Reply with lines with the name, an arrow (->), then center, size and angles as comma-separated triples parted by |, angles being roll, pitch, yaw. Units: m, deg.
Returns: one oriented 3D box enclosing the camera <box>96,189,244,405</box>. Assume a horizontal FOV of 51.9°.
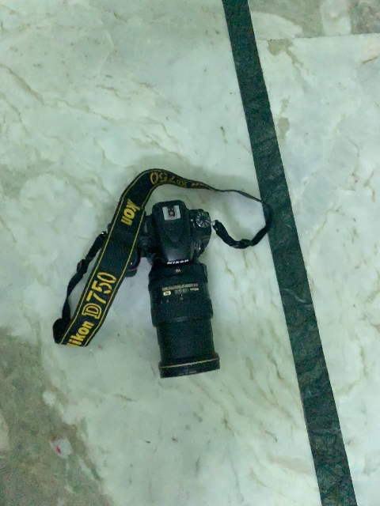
camera -> -0.031, 0.053, 0.495 | 0.139, 0.100, 0.233 | -7, 76, -6
